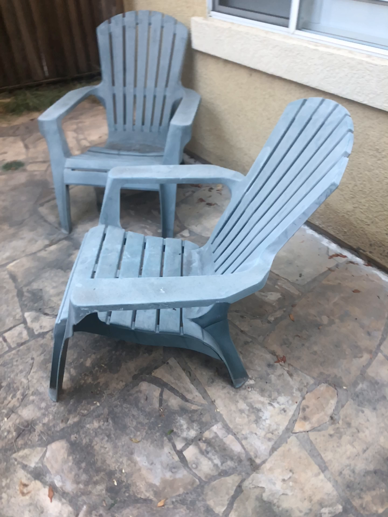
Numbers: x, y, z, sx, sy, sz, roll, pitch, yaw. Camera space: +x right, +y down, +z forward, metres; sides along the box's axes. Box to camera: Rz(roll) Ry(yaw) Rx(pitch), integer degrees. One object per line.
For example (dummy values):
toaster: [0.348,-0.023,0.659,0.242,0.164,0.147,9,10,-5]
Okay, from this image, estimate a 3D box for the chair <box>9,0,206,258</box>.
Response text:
chair: [-0.380,-0.797,2.488,0.740,1.220,0.918,6,31,6]

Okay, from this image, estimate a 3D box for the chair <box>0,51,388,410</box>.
chair: [-0.068,-0.080,1.383,0.920,0.882,0.696,2,38,-3]
